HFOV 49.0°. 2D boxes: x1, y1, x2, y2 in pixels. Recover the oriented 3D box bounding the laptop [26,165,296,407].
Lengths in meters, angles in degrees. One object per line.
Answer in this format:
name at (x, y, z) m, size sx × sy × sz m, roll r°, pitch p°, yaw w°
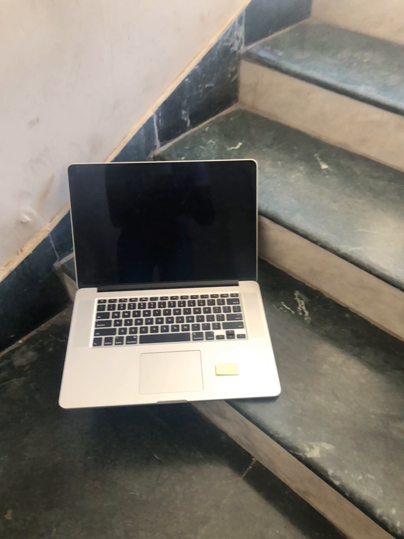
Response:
laptop at (-0.066, 0.010, 0.759) m, size 0.341 × 0.194 × 0.365 m, roll -2°, pitch 46°, yaw -4°
